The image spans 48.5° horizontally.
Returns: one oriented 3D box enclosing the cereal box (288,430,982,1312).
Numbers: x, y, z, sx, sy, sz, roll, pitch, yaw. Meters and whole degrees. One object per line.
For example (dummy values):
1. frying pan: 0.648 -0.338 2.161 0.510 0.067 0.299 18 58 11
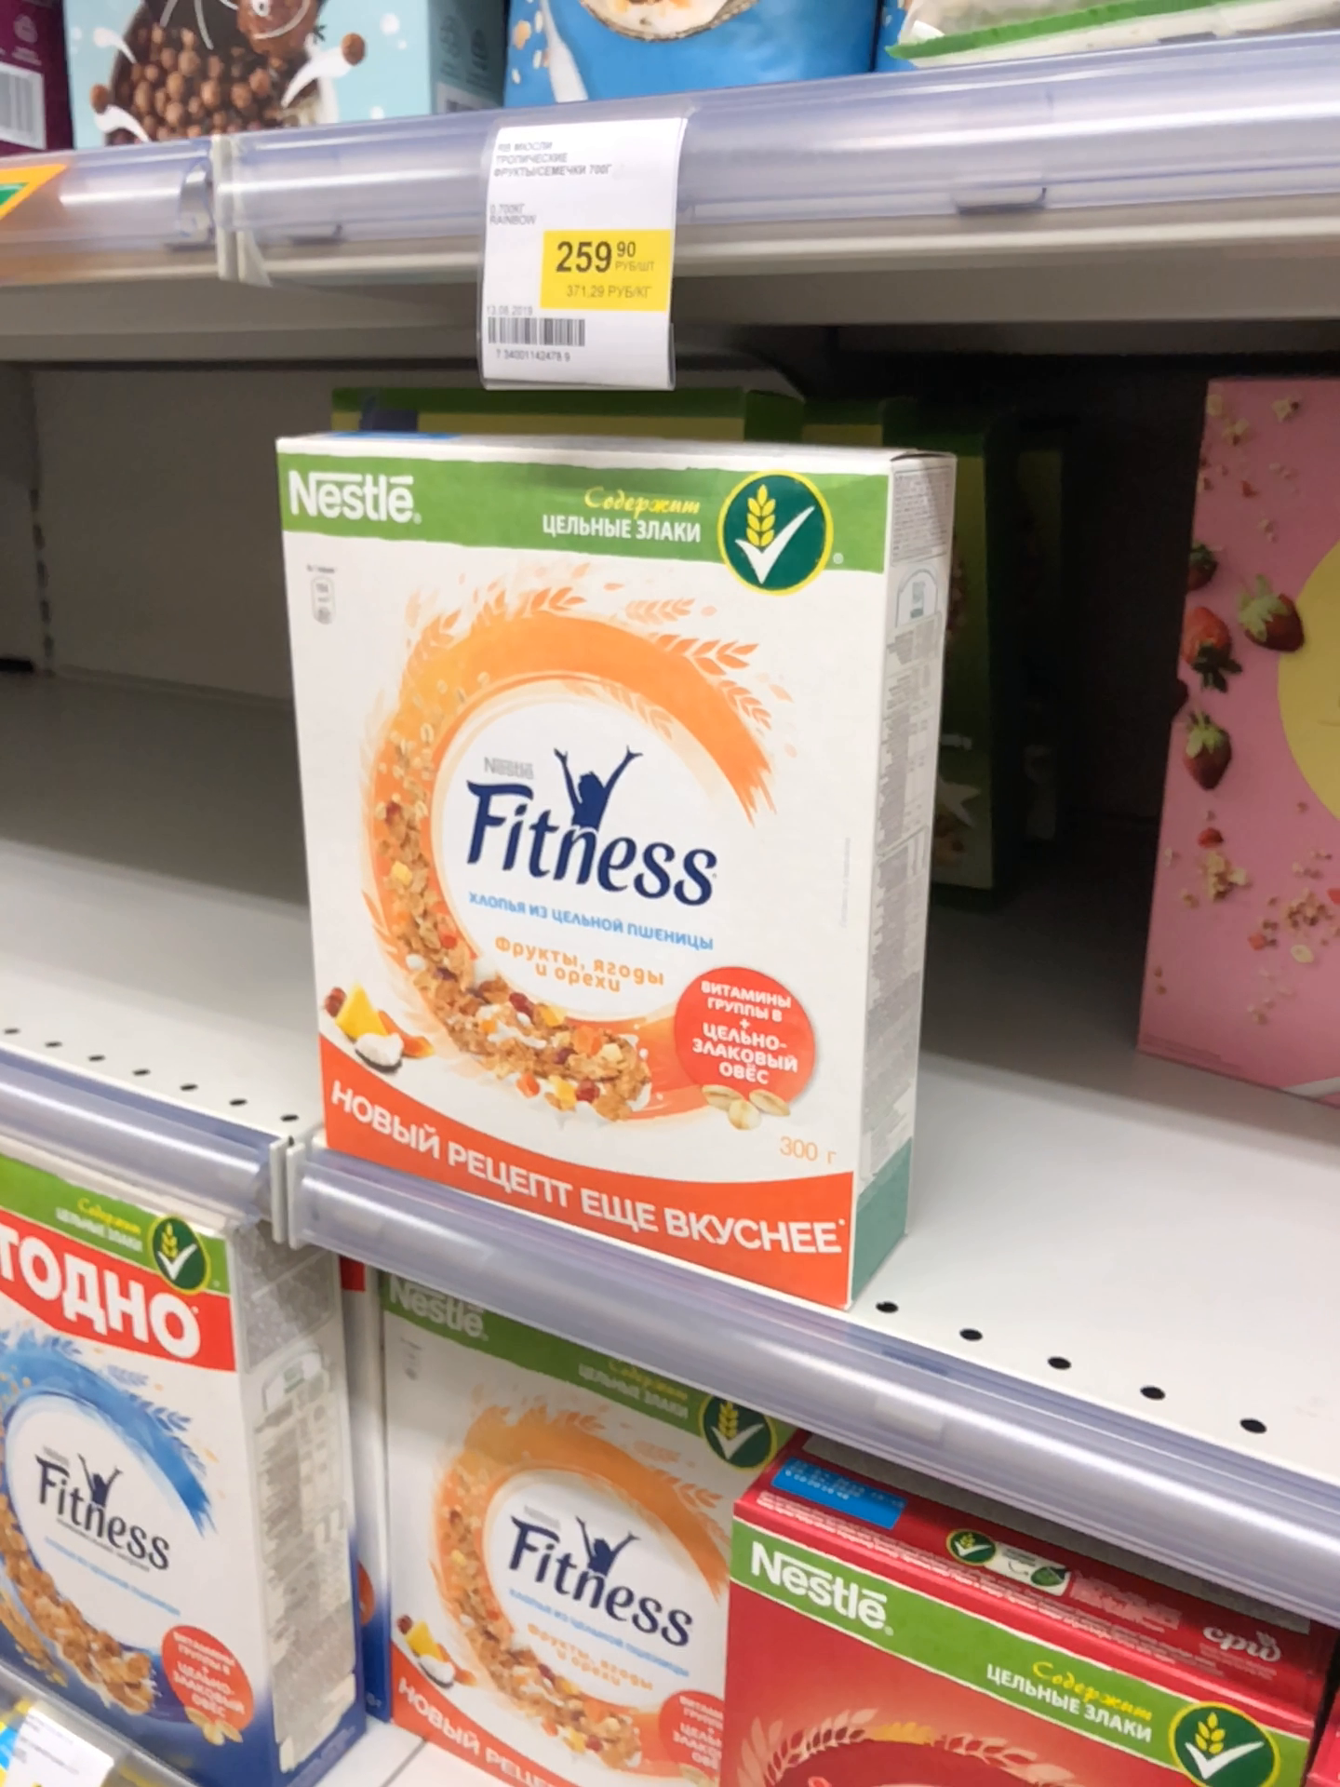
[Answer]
1. cereal box: -0.016 -0.015 0.441 0.190 0.229 0.050 10 21 27
